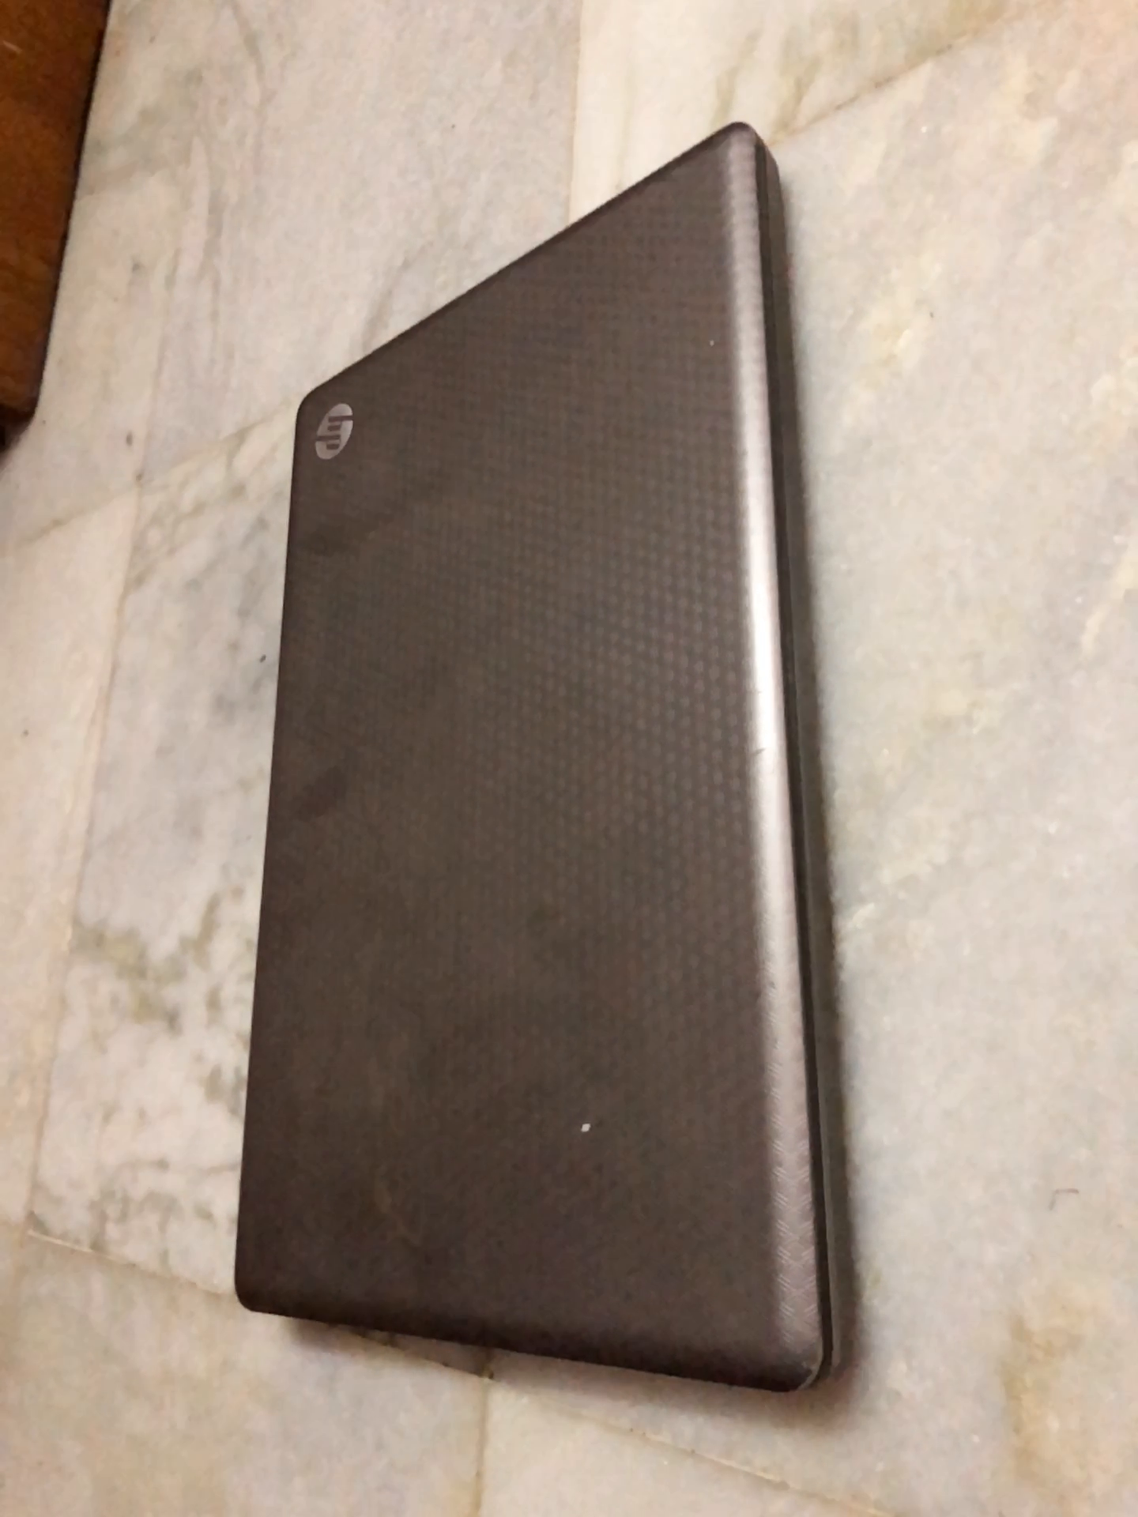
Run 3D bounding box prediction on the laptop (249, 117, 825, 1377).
[{"bbox_3d":[-0.030,-0.008,0.457,0.252,0.003,0.394,-15,67,40],"label":"laptop"}]
